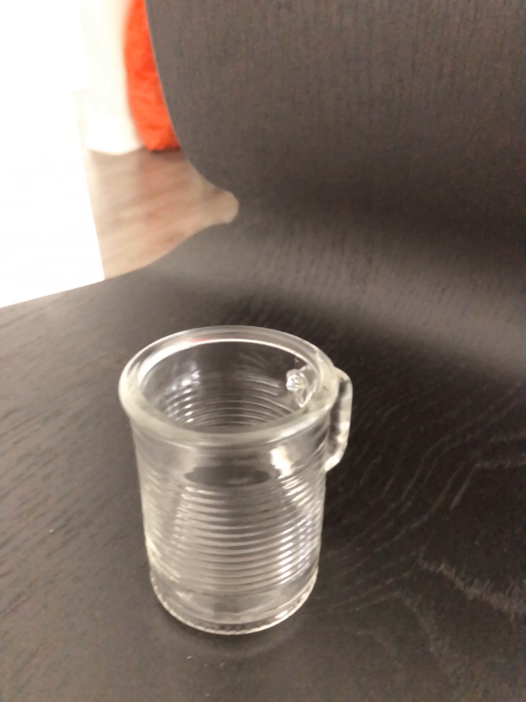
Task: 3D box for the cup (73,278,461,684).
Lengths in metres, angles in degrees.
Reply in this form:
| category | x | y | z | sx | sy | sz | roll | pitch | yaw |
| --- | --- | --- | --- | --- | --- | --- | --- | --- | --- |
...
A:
| category | x | y | z | sx | sy | sz | roll | pitch | yaw |
| --- | --- | --- | --- | --- | --- | --- | --- | --- | --- |
| cup | -0.001 | 0.034 | 0.186 | 0.090 | 0.080 | 0.060 | -16 | 37 | -26 |
